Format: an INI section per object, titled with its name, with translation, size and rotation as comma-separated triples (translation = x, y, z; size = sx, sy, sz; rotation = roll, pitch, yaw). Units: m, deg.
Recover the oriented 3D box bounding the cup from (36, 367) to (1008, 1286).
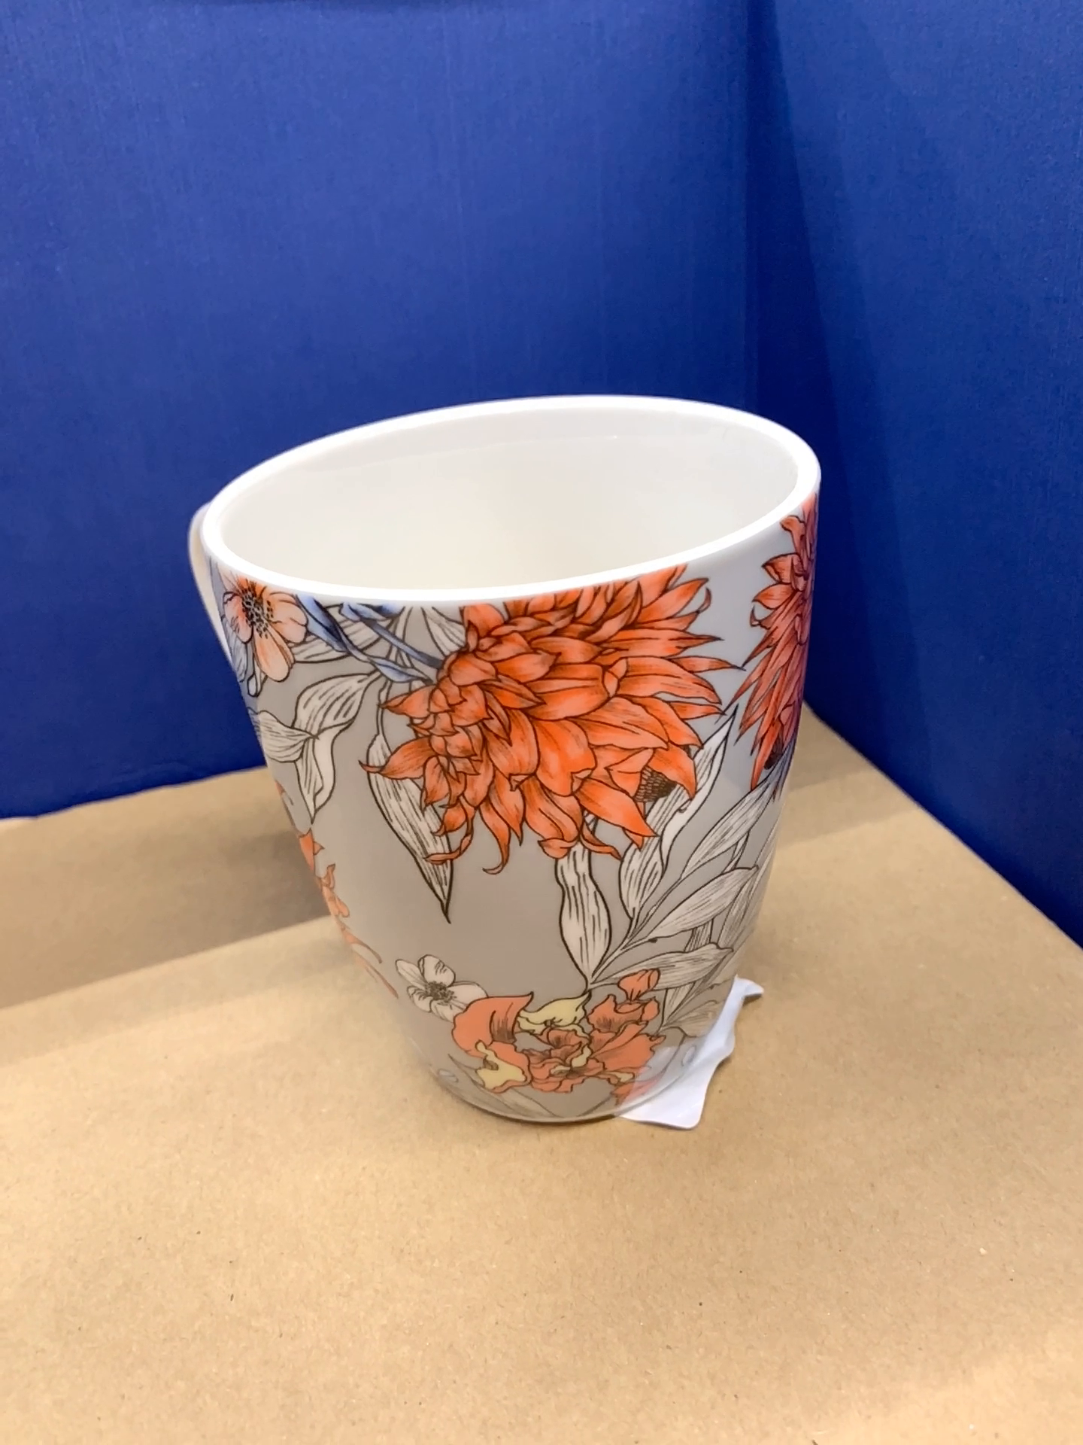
[cup]
translation = -0.006, -0.002, 0.189
size = 0.092, 0.085, 0.118
rotation = -25, 33, -34
